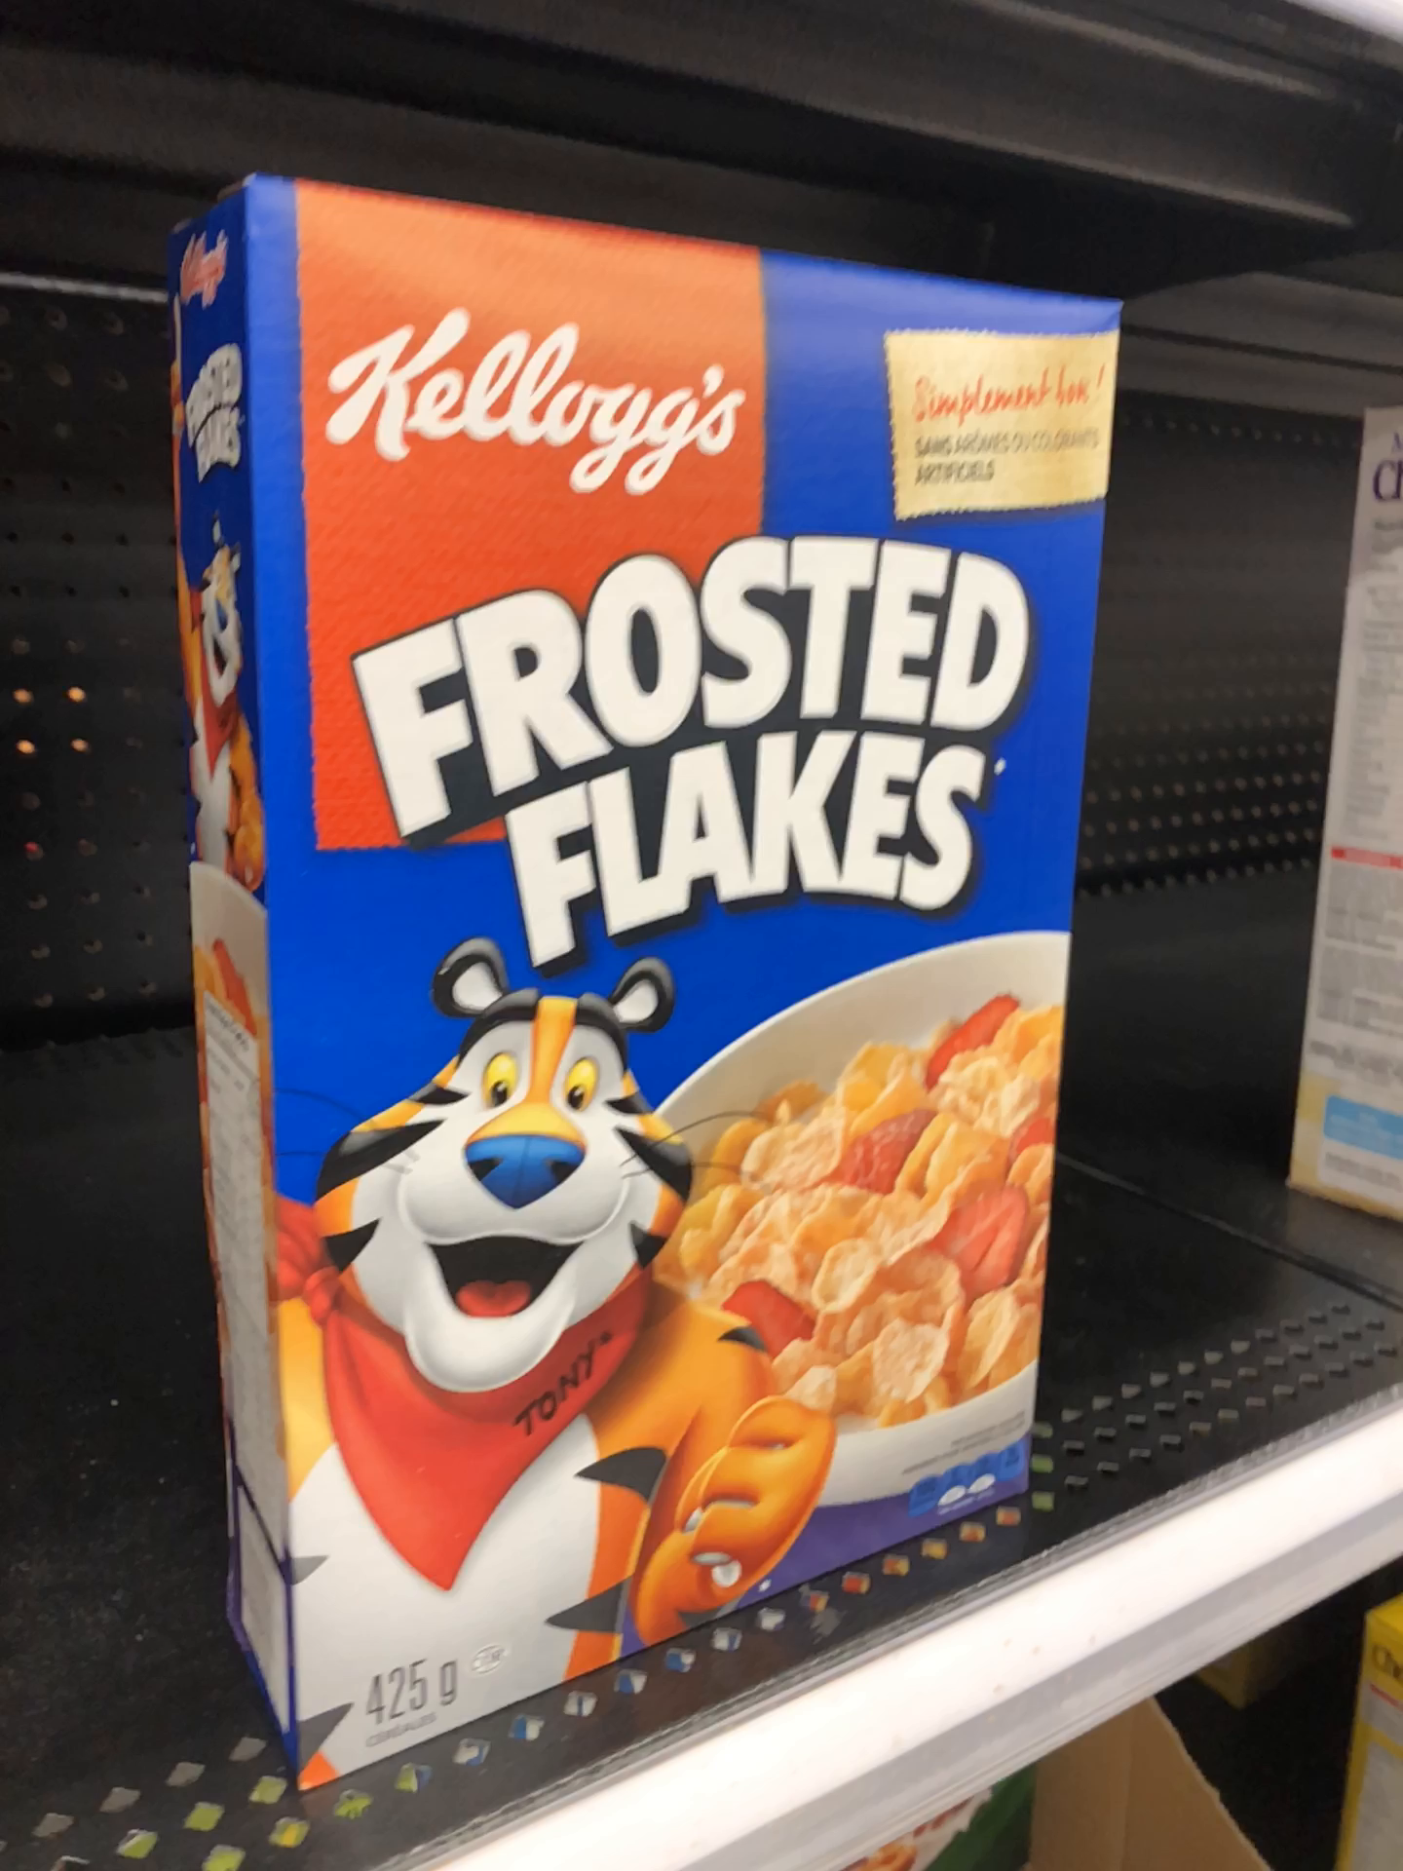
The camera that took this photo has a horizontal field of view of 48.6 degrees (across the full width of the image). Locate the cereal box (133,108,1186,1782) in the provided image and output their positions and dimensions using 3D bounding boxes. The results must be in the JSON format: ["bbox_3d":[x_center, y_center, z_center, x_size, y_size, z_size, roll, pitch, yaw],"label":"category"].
[{"bbox_3d":[-0.001,0.000,0.342,0.210,0.289,0.060,-7,15,-32],"label":"cereal box"}]
